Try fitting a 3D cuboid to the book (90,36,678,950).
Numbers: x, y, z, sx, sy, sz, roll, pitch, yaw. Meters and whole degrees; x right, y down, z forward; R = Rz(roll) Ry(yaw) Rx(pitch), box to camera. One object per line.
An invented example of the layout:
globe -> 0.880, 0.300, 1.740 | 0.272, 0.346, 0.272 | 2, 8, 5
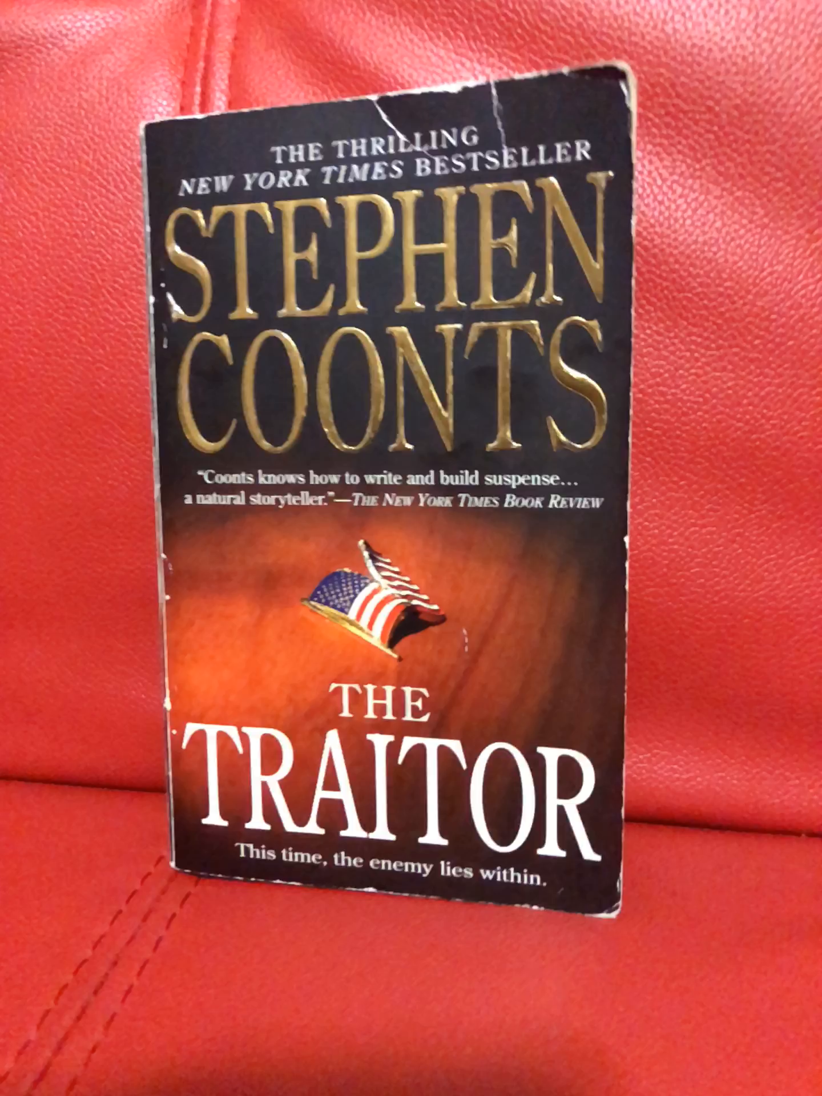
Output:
book -> -0.006, -0.010, 0.212 | 0.120, 0.180, 0.040 | 1, 5, 10
